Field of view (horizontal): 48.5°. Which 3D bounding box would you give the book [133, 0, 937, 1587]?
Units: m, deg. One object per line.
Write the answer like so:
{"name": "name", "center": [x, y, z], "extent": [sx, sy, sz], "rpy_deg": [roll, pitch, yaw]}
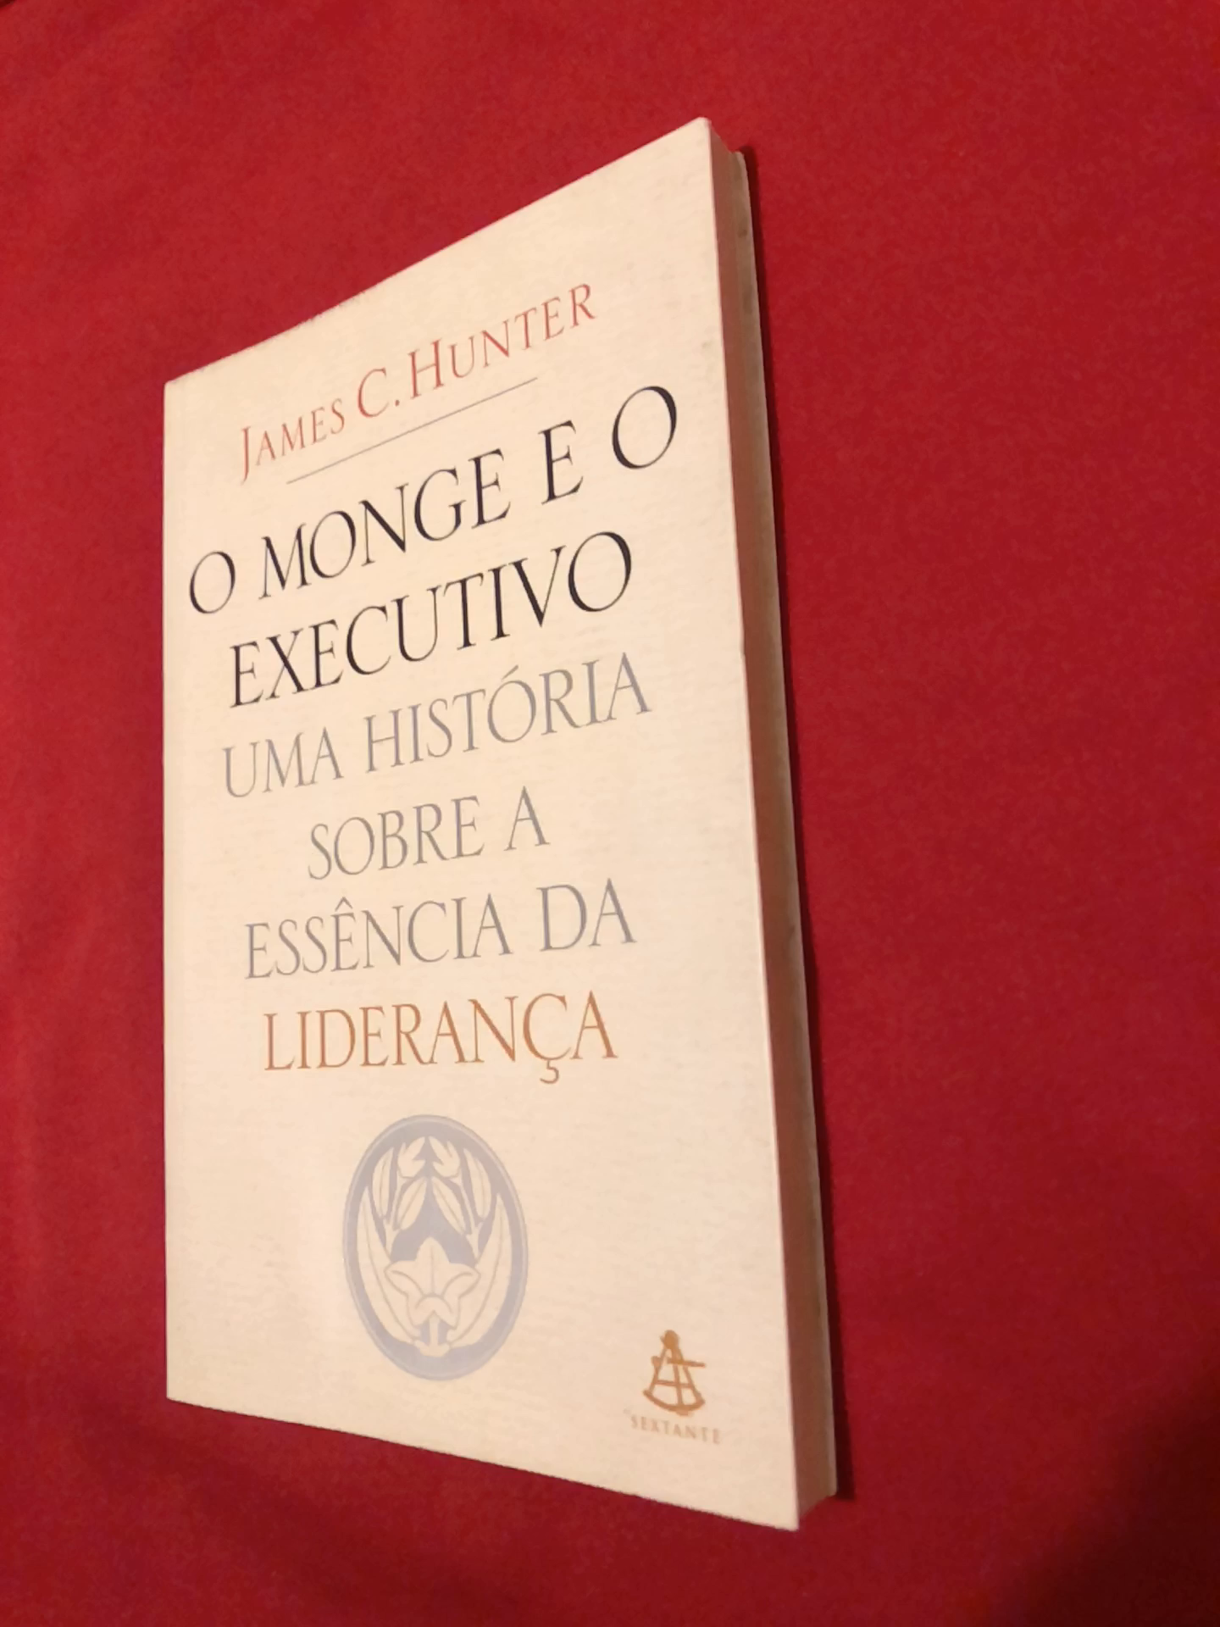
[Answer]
{"name": "book", "center": [-0.023, -0.004, 0.236], "extent": [0.141, 0.030, 0.220], "rpy_deg": [-8, 79, 34]}
